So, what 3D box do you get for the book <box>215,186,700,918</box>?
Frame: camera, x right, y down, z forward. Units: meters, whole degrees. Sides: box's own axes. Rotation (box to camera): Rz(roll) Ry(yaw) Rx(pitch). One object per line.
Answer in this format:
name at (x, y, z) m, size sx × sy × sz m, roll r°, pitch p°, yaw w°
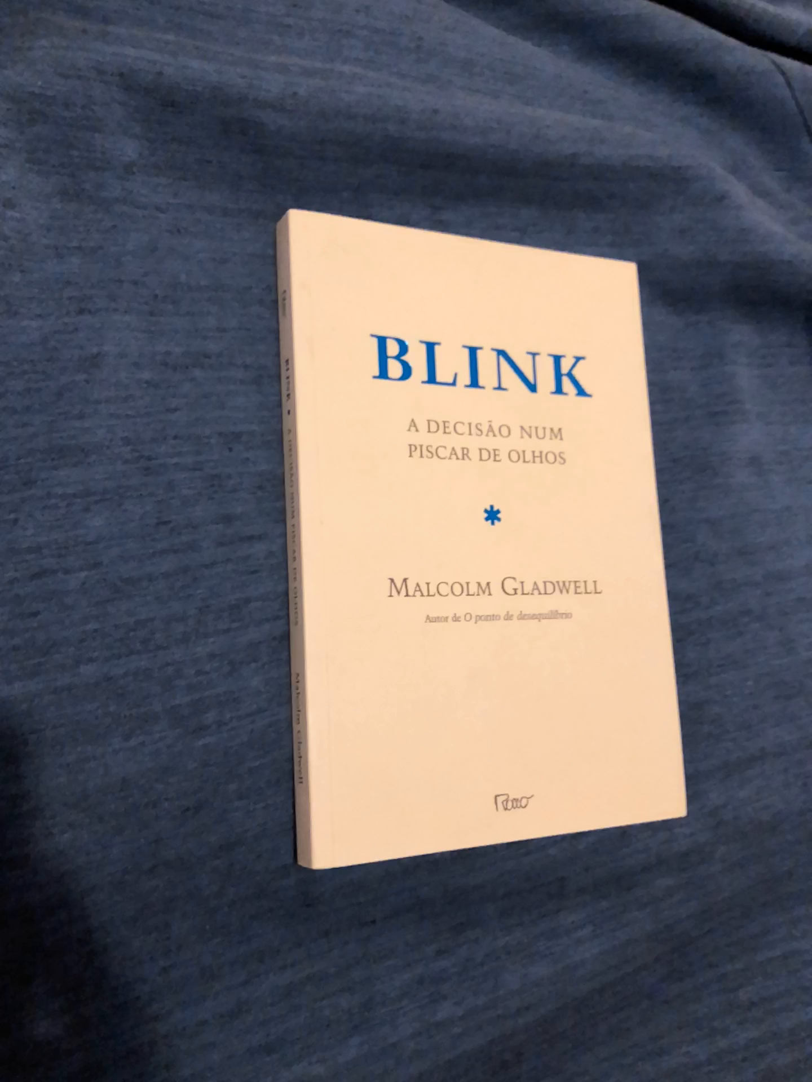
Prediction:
book at (0.017, -0.002, 0.310) m, size 0.150 × 0.030 × 0.220 m, roll 1°, pitch 77°, yaw -25°
